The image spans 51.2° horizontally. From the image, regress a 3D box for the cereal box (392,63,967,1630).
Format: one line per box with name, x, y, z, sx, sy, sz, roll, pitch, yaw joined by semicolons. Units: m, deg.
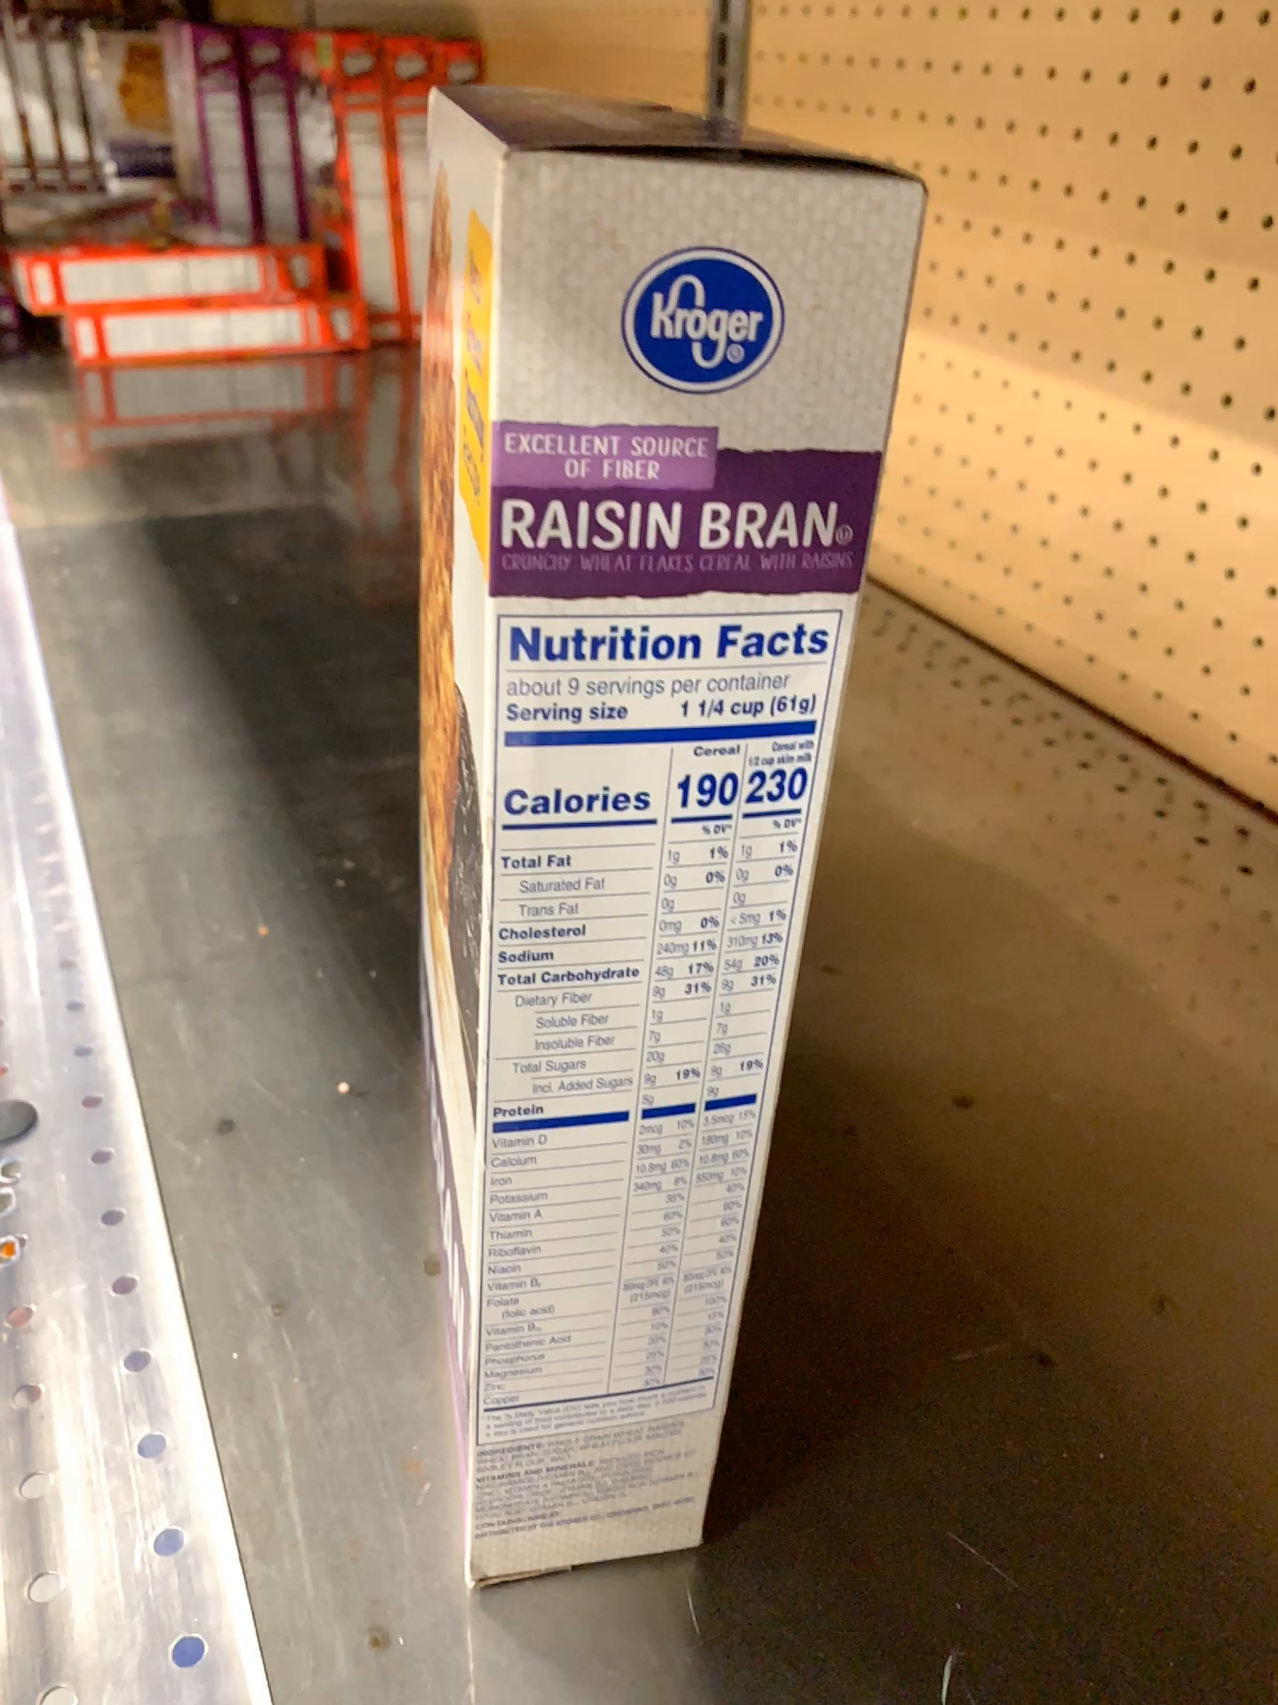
cereal box;-0.020;-0.009;0.286;0.050;0.269;0.191;-2;32;-13
